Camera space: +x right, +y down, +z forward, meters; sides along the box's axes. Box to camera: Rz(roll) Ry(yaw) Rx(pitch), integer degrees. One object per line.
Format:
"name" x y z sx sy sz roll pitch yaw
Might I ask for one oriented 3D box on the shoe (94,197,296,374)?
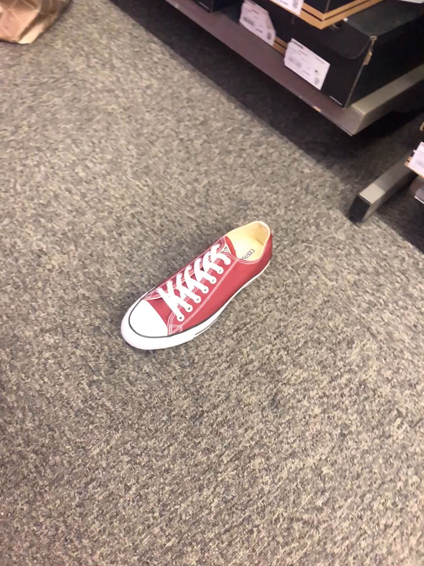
"shoe" -0.019 -0.002 0.685 0.281 0.090 0.100 -34 67 -22
